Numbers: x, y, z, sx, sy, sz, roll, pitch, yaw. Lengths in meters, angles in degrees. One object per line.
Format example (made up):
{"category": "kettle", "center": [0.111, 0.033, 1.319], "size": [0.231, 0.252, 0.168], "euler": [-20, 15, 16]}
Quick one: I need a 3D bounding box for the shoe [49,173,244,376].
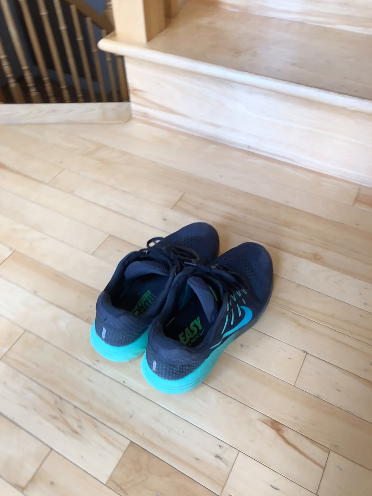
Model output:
{"category": "shoe", "center": [-0.042, 0.024, 0.617], "size": [0.120, 0.100, 0.291], "euler": [27, 55, 23]}

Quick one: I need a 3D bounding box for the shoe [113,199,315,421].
{"category": "shoe", "center": [0.050, 0.071, 0.579], "size": [0.120, 0.100, 0.291], "euler": [30, 56, 25]}
